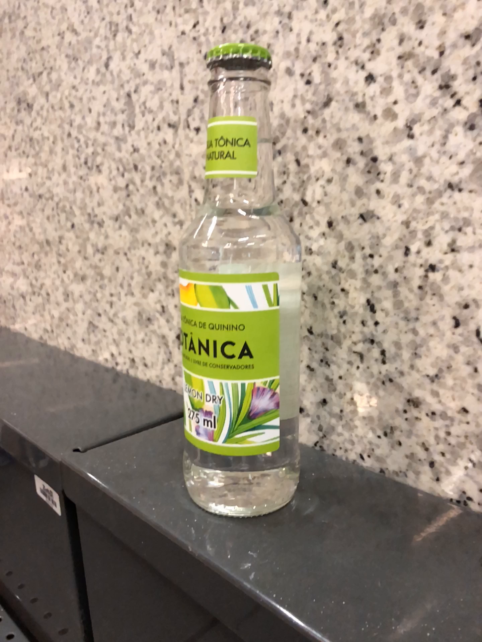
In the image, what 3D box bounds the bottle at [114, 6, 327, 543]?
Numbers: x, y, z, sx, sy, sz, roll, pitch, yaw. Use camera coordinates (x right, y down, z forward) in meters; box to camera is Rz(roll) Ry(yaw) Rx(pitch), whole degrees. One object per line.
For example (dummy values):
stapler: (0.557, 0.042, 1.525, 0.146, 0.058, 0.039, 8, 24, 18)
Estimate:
bottle: (-0.004, -0.017, 0.248, 0.060, 0.209, 0.060, -3, 13, 1)
